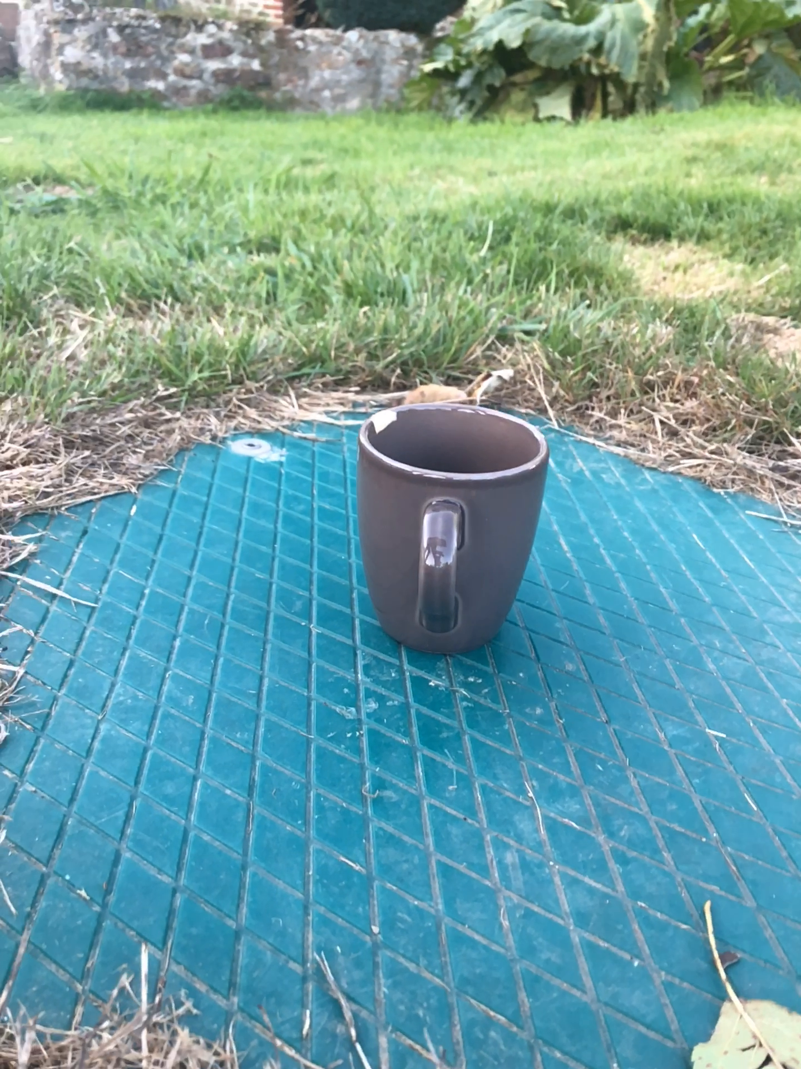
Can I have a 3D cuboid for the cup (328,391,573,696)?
[{"bbox_3d":[0.022,-0.003,0.403,0.090,0.086,0.127,5,25,4],"label":"cup"}]
